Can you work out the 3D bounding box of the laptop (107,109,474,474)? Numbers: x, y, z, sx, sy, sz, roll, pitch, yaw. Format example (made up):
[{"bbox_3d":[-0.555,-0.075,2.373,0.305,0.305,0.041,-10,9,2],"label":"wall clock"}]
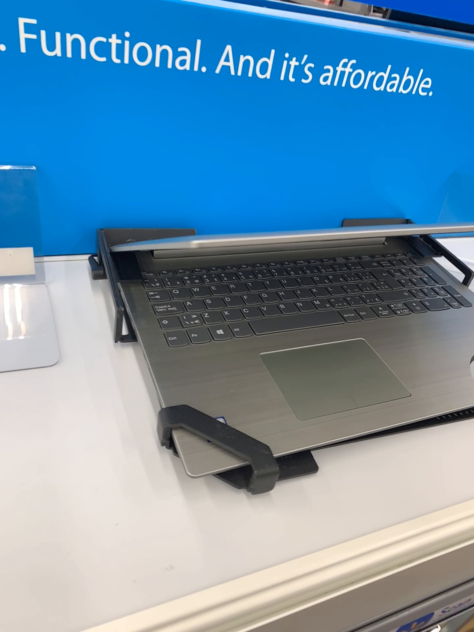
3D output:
[{"bbox_3d":[0.091,-0.046,0.362,0.325,0.110,0.220,-6,41,-24],"label":"laptop"}]
